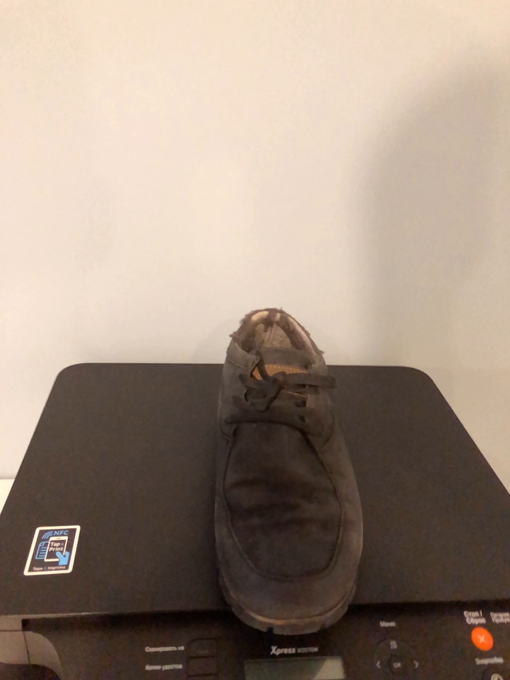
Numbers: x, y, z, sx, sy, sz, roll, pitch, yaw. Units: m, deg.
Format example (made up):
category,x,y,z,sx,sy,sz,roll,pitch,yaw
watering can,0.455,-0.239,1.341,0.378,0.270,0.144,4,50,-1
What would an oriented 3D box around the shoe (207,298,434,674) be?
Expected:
category,x,y,z,sx,sy,sz,roll,pitch,yaw
shoe,0.027,0.079,0.427,0.110,0.109,0.282,3,28,-3
